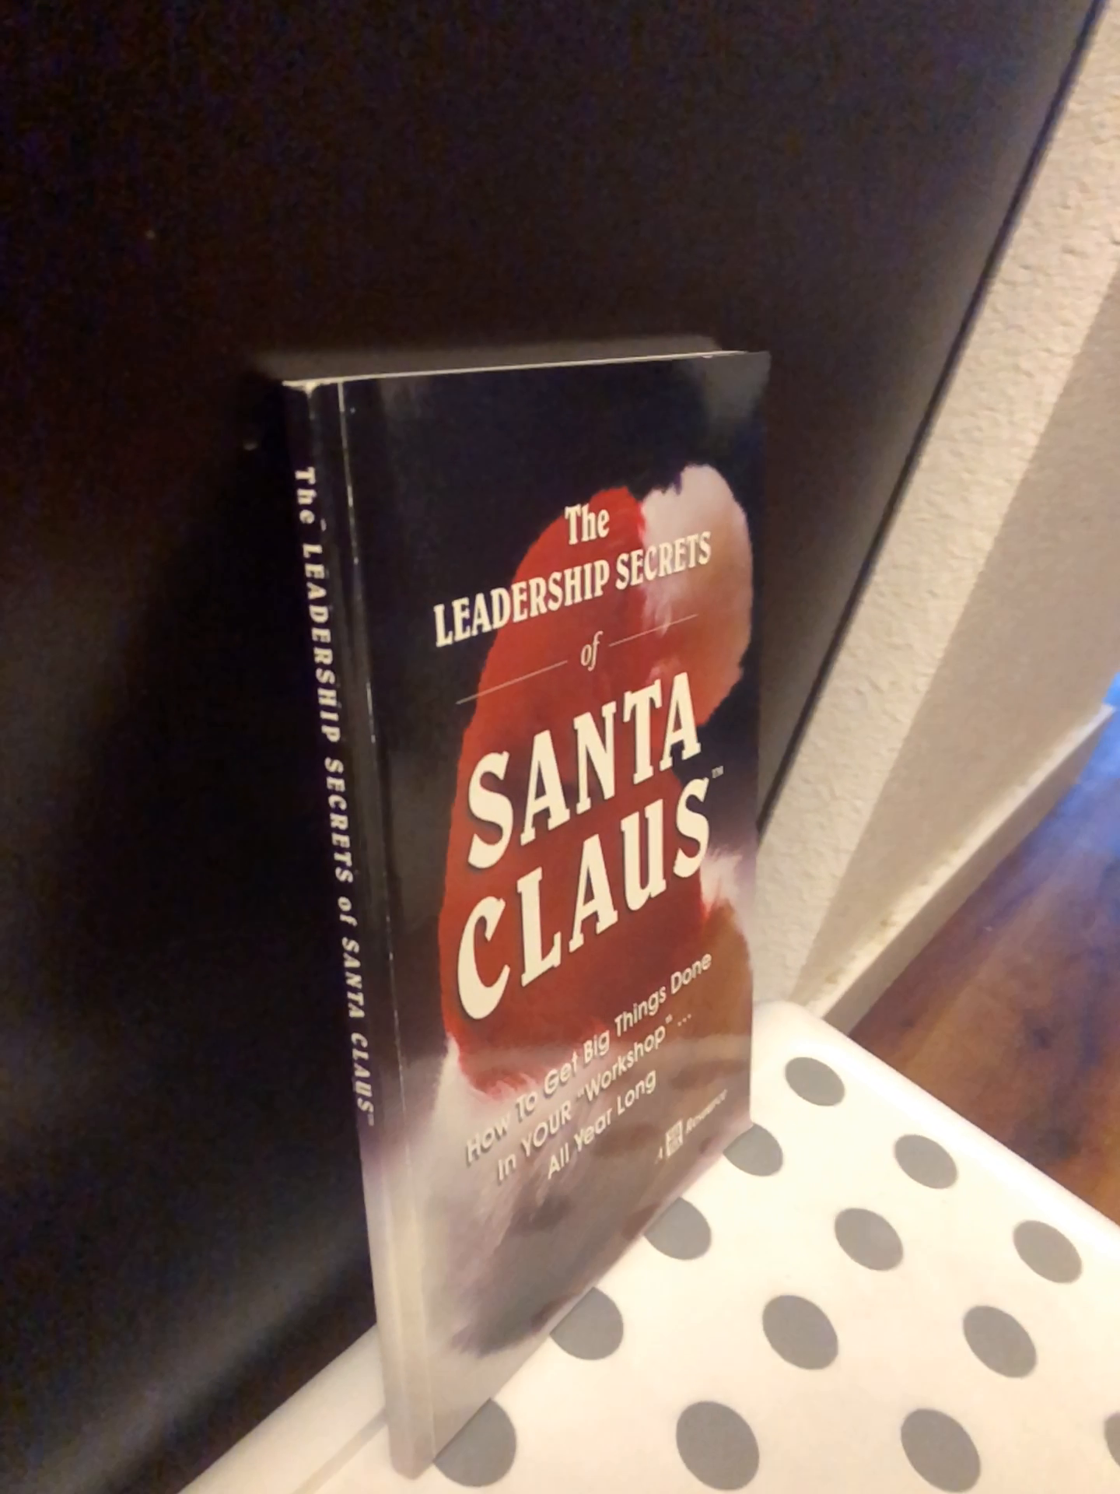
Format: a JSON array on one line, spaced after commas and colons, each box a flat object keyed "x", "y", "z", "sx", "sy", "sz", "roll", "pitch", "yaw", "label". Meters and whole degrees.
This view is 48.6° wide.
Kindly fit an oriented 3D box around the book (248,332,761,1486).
[{"x": 0.006, "y": 0.024, "z": 0.289, "sx": 0.010, "sy": 0.225, "sz": 0.161, "roll": 10, "pitch": 21, "yaw": 34, "label": "book"}]
